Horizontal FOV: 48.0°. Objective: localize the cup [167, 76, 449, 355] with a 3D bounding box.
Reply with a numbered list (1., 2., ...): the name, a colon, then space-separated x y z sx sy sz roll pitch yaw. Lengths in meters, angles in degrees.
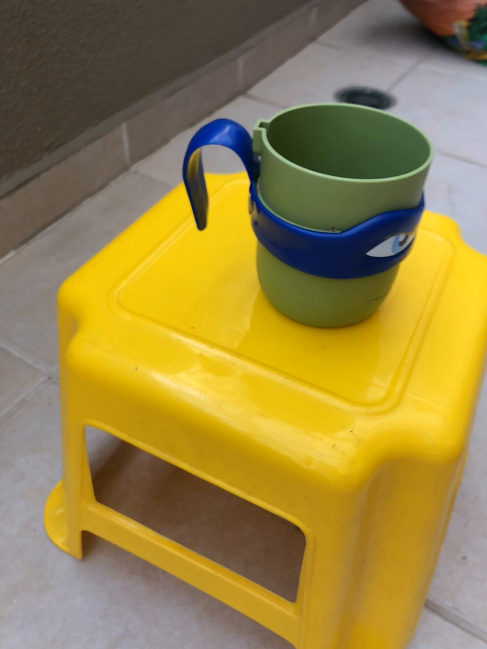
1. cup: 0.032 -0.056 0.272 0.110 0.089 0.081 13 46 10
